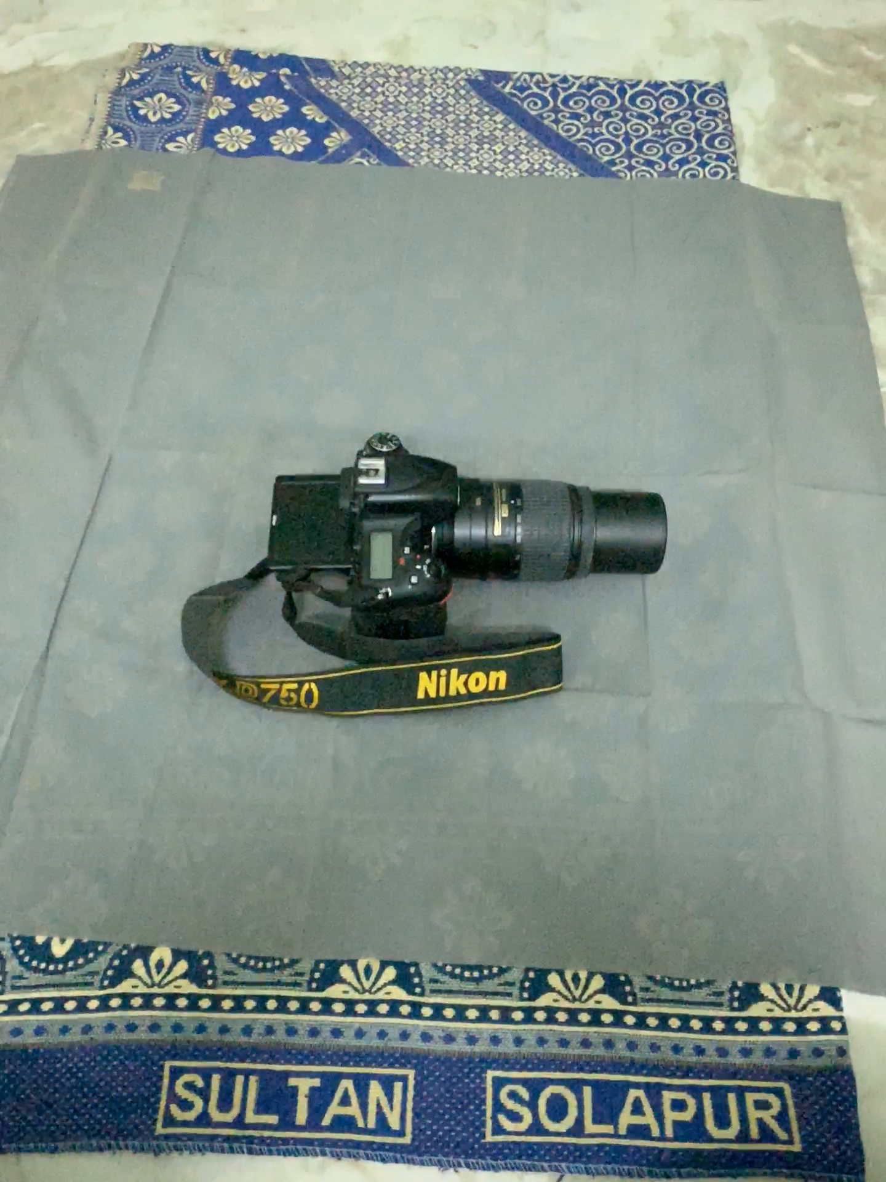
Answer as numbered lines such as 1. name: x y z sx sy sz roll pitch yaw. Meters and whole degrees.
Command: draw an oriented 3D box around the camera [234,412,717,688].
1. camera: 0.021 -0.027 0.623 0.288 0.110 0.147 1 61 1
